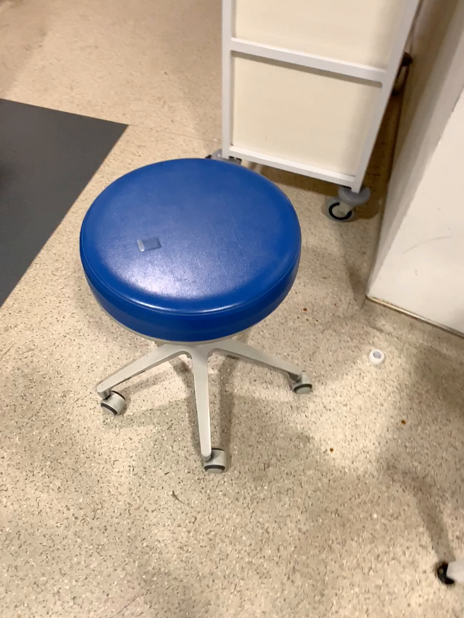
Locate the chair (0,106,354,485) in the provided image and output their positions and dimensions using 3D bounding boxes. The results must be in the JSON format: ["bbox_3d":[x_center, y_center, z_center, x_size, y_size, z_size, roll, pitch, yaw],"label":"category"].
[{"bbox_3d":[-0.084,0.002,1.117,0.580,0.635,0.574,7,56,3],"label":"chair"}]
